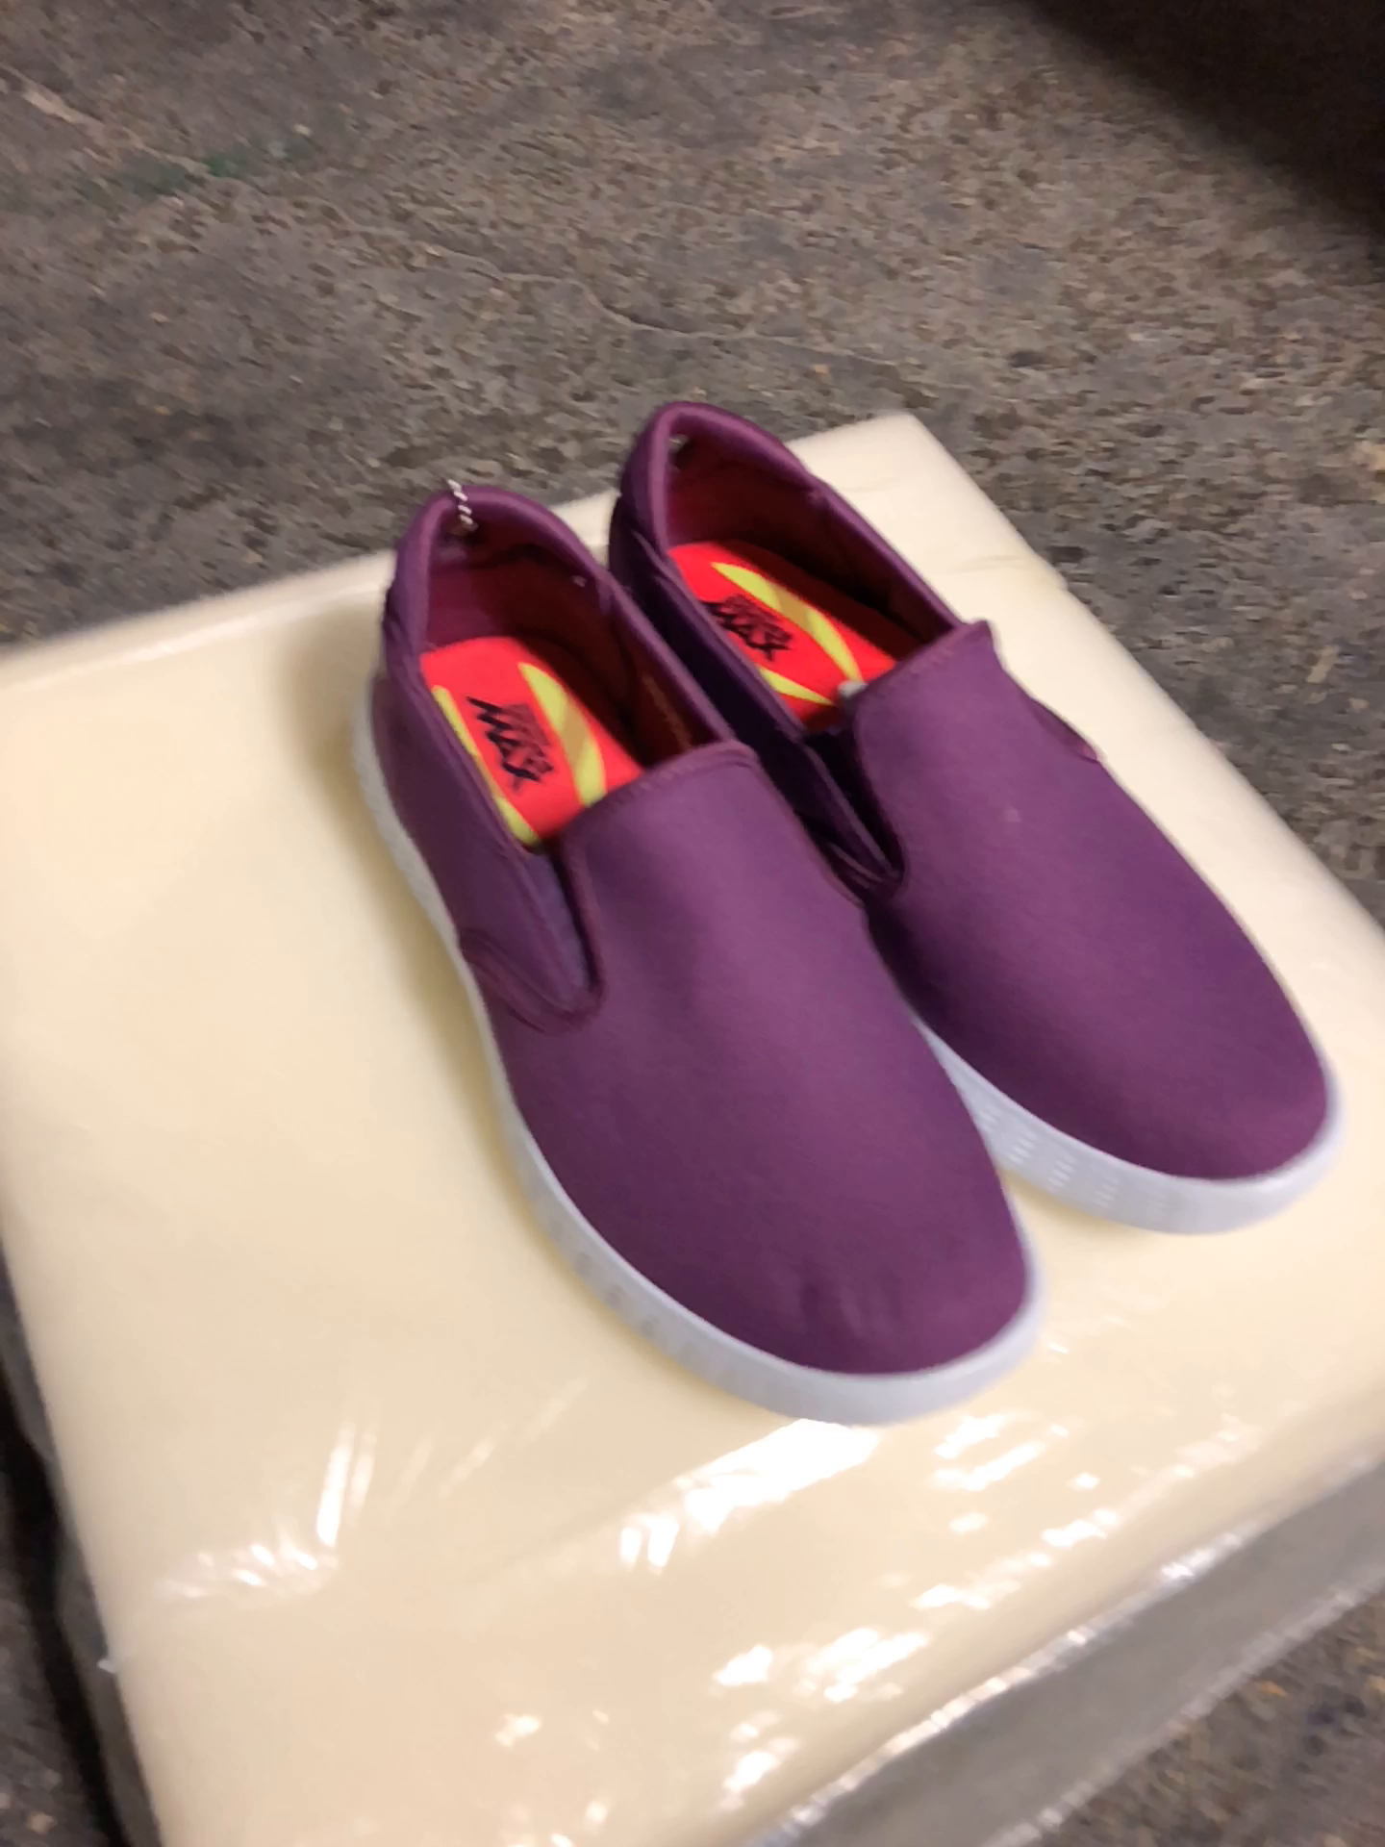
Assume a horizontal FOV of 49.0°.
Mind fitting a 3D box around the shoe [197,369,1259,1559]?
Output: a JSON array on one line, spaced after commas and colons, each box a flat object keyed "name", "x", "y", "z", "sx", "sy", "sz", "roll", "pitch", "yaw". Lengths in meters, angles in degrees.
[{"name": "shoe", "x": -0.011, "y": -0.008, "z": 0.356, "sx": 0.100, "sy": 0.089, "sz": 0.261, "roll": -25, "pitch": 59, "yaw": -21}]

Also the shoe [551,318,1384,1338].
[{"name": "shoe", "x": 0.072, "y": -0.037, "z": 0.380, "sx": 0.100, "sy": 0.089, "sz": 0.241, "roll": -28, "pitch": 61, "yaw": -23}]
